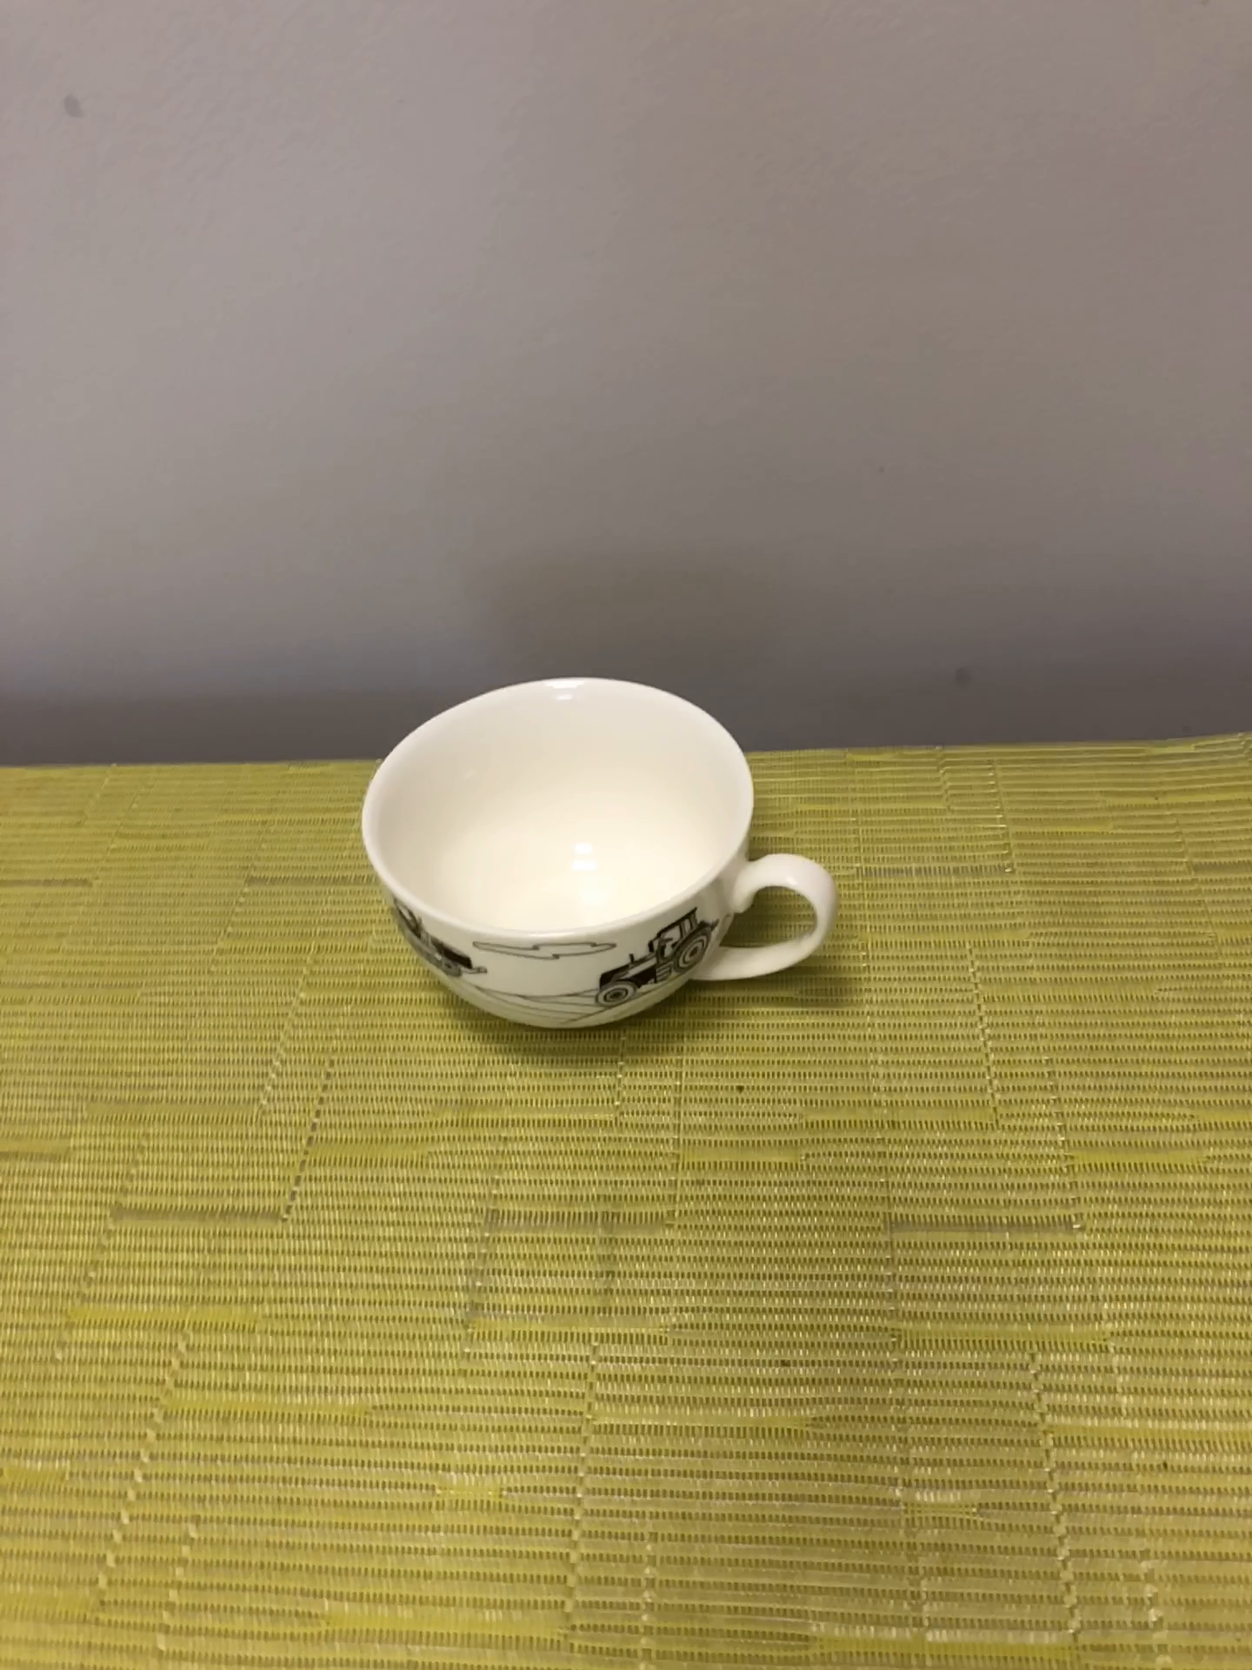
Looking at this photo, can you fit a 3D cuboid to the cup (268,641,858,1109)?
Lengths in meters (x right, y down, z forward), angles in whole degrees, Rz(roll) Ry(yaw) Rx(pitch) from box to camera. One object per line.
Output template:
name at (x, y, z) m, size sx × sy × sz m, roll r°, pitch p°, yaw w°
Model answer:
cup at (-0.009, 0.005, 0.337) m, size 0.113 × 0.051 × 0.089 m, roll 8°, pitch 43°, yaw 16°
